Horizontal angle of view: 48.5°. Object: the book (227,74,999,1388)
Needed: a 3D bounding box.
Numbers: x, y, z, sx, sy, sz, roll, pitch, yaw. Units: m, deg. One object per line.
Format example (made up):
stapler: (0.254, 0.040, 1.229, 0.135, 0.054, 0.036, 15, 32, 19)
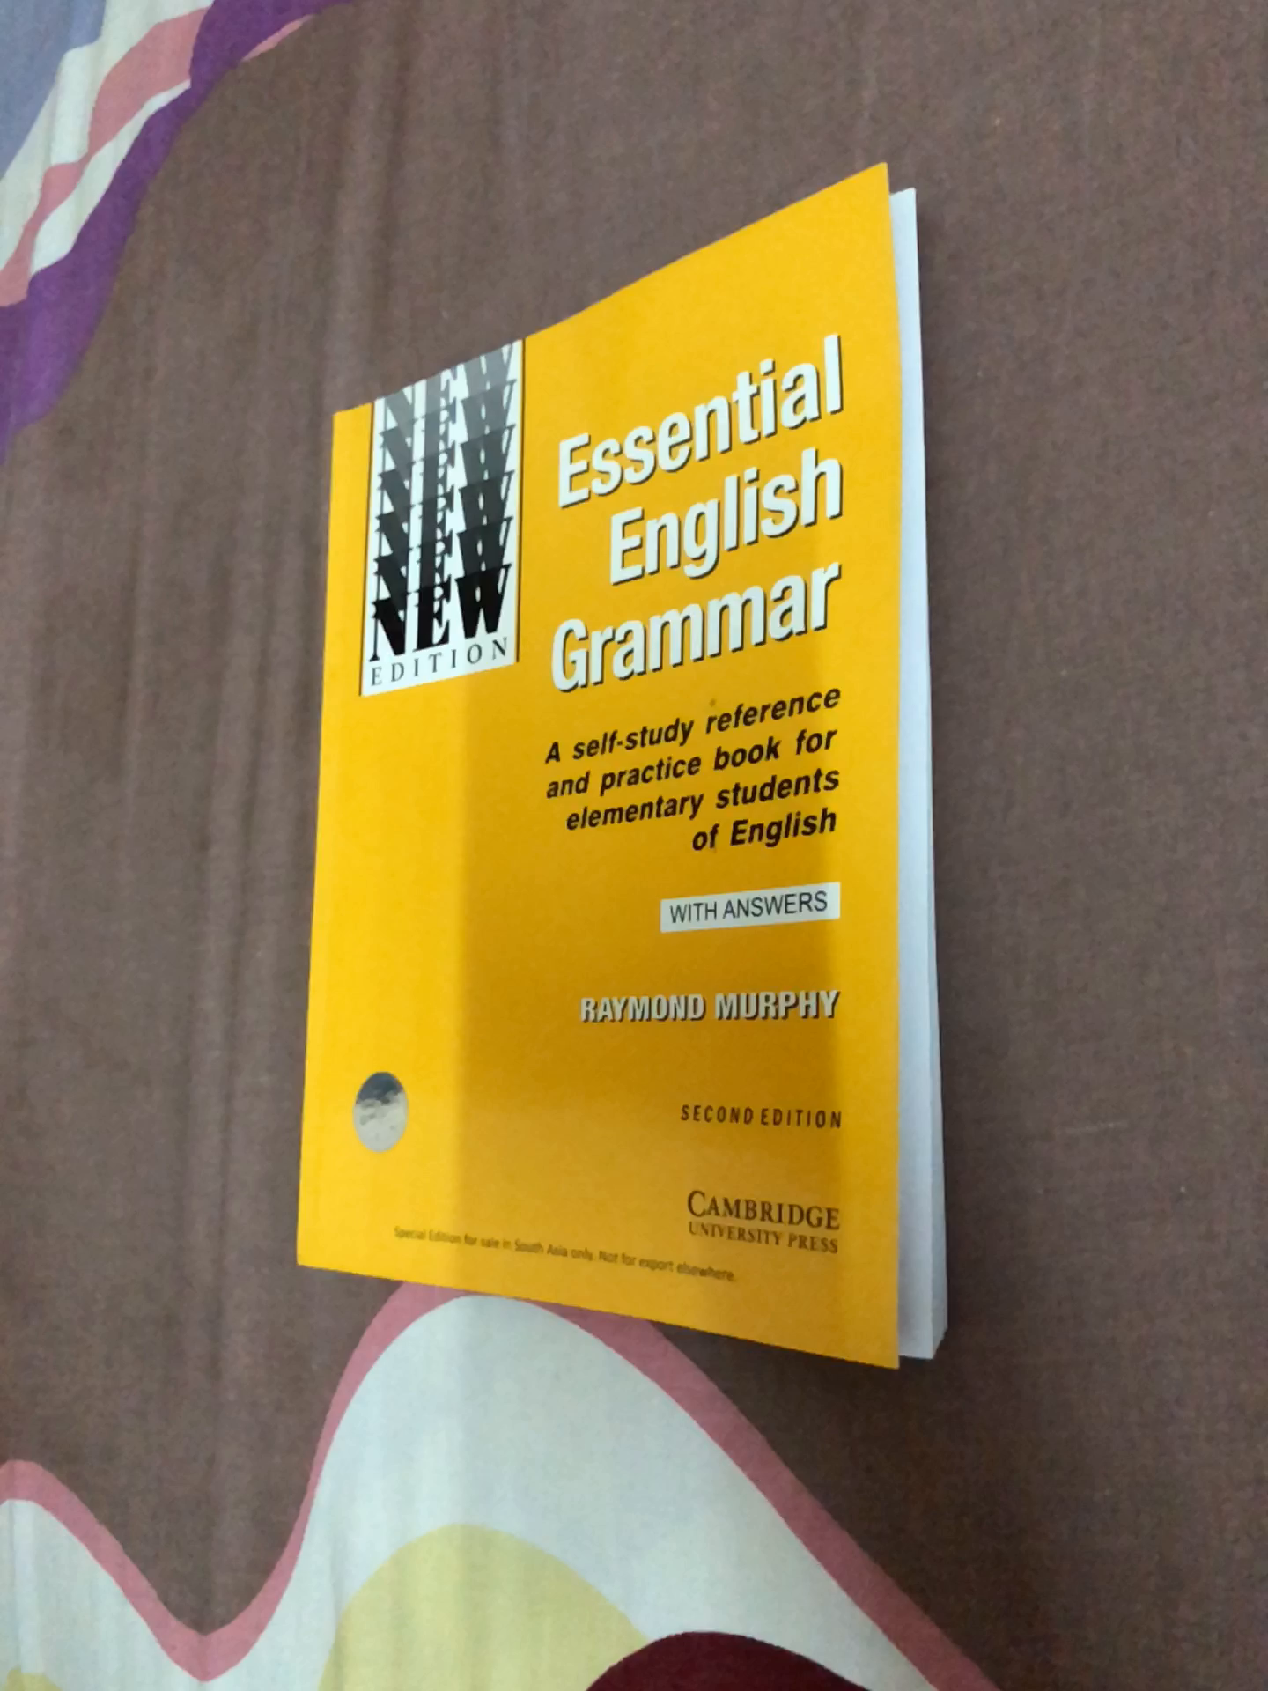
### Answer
book: (-0.013, -0.020, 0.335, 0.191, 0.040, 0.250, -6, 78, 38)
